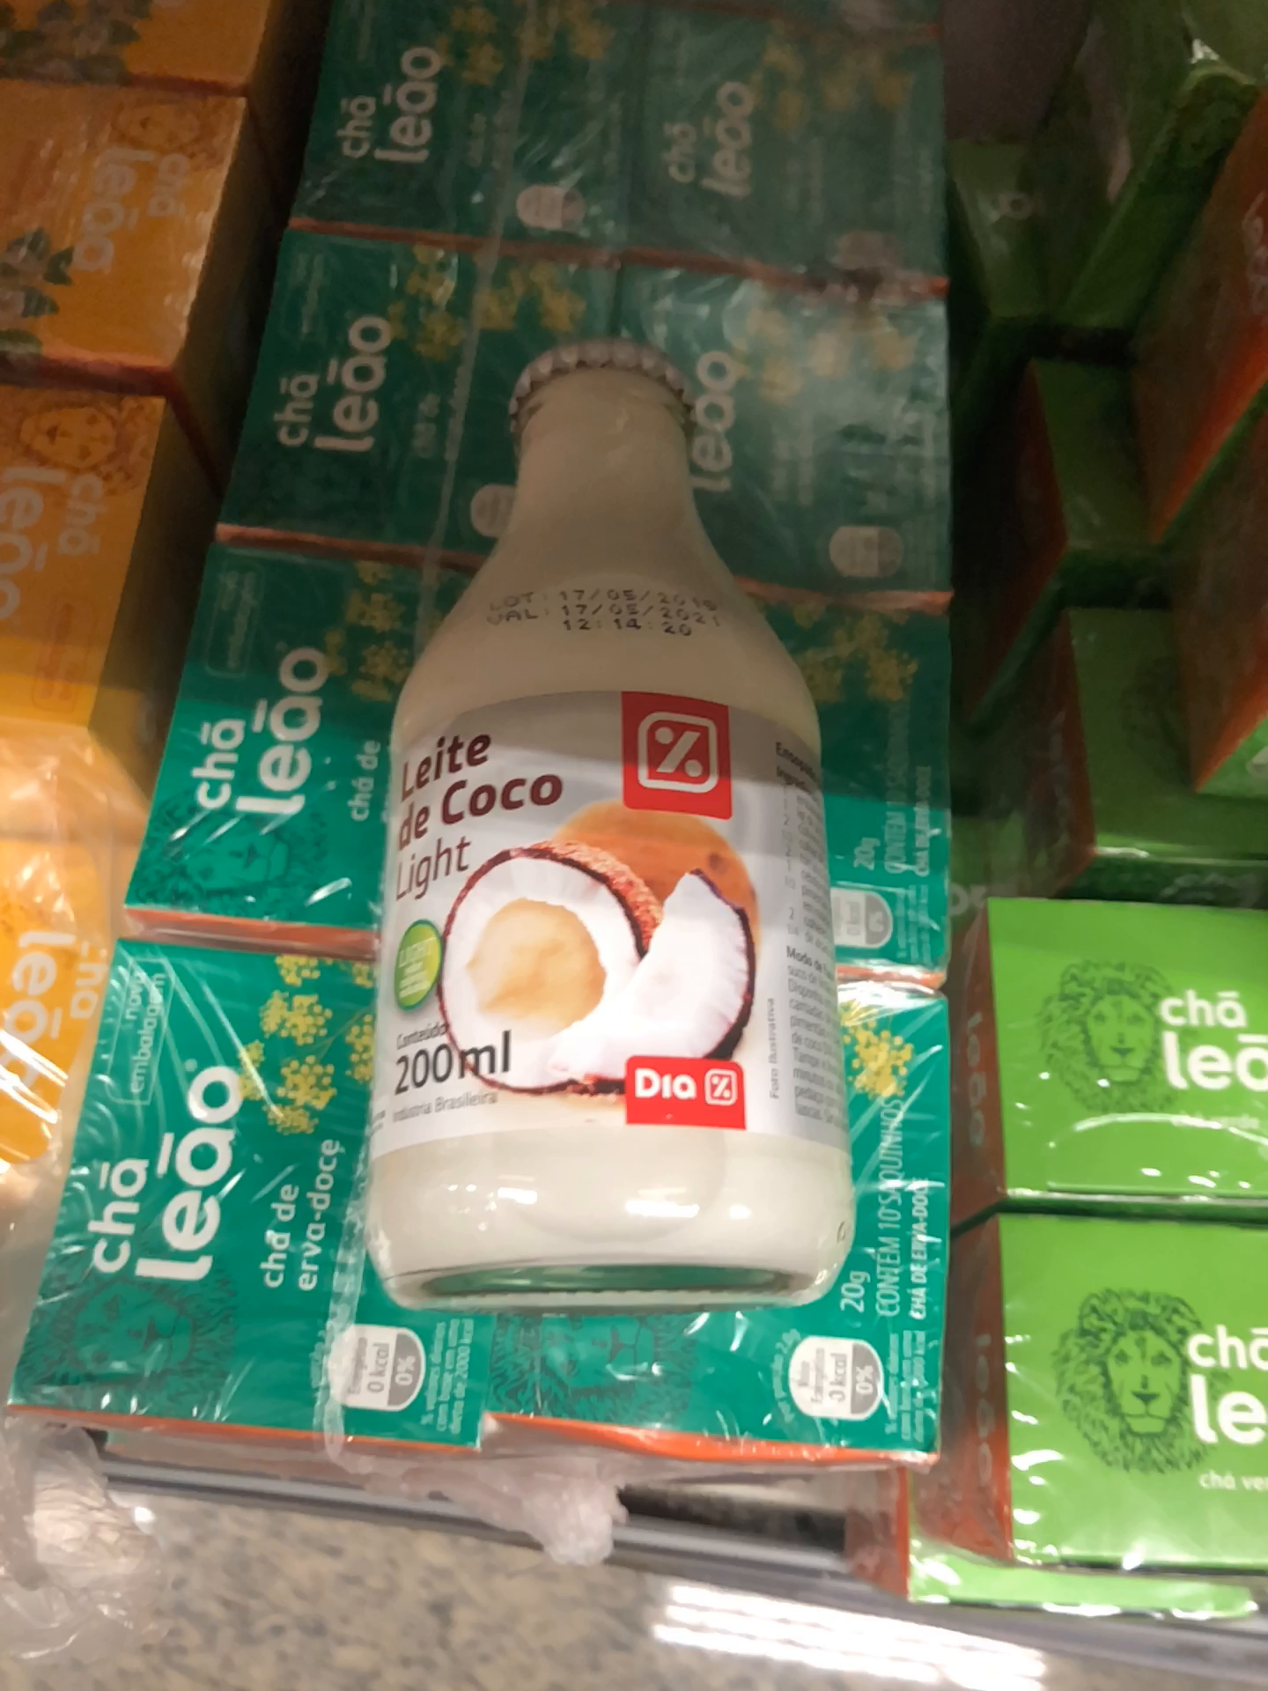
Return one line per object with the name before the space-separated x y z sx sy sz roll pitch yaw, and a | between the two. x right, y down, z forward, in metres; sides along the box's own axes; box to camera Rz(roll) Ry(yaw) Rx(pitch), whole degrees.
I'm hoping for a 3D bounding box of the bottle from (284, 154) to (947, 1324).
bottle | -0.004 -0.018 0.204 0.070 0.050 0.160 0 67 -3
